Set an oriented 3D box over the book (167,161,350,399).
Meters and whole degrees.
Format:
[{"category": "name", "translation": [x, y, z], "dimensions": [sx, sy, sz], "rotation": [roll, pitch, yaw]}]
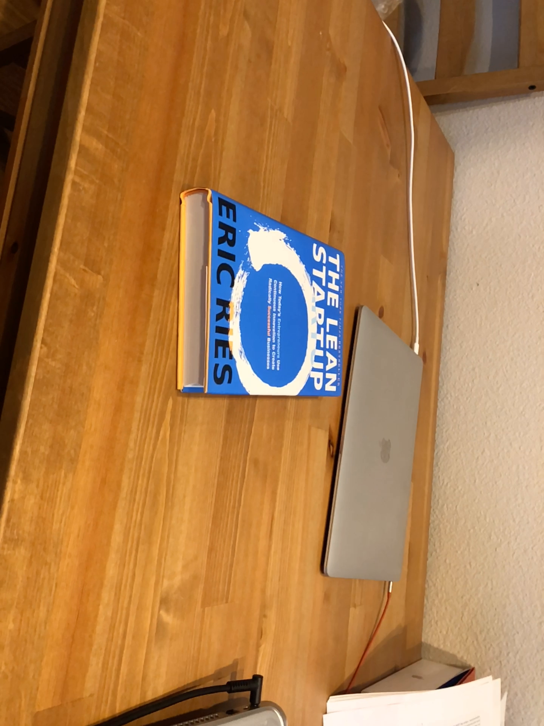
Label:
[{"category": "book", "translation": [0.001, -0.051, 0.505], "dimensions": [0.211, 0.040, 0.160], "rotation": [6, 85, -58]}]
